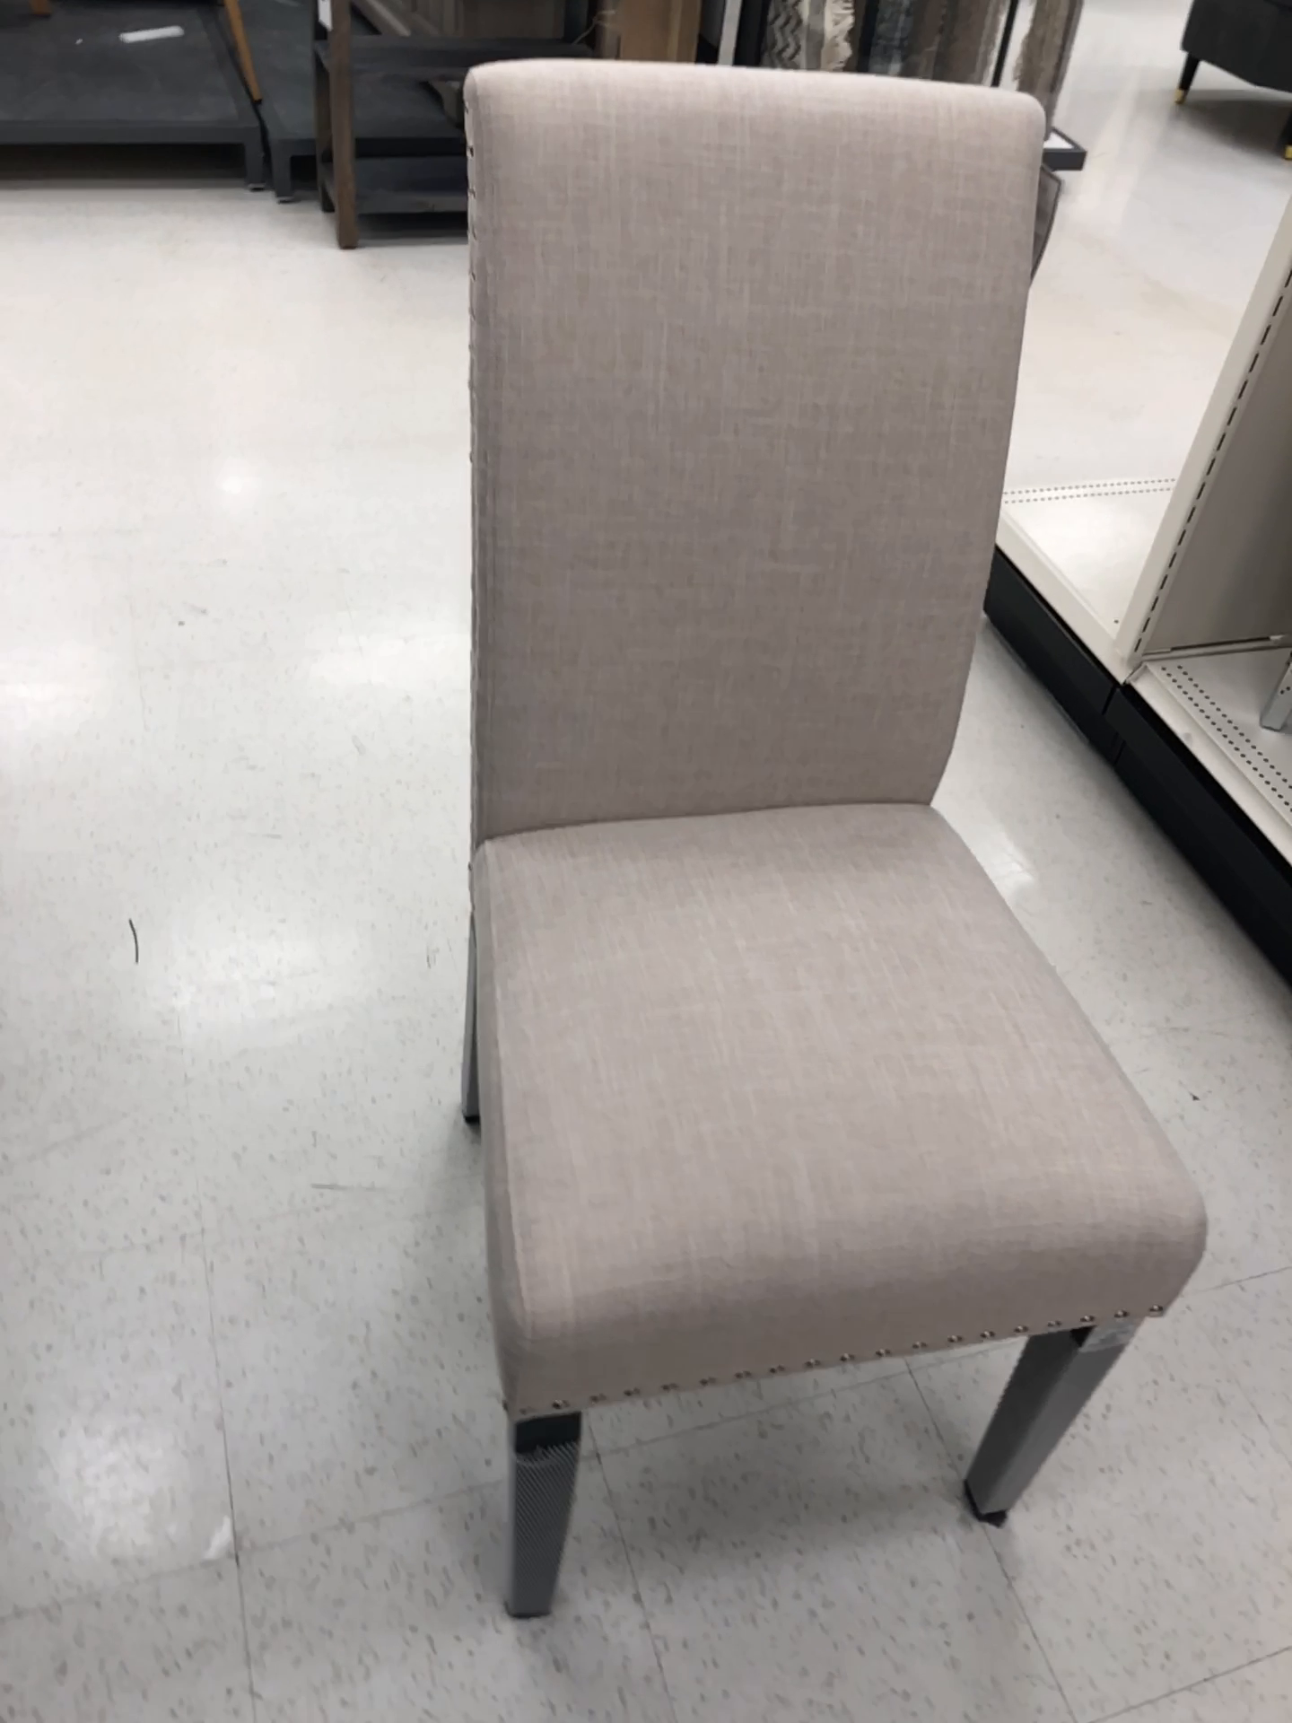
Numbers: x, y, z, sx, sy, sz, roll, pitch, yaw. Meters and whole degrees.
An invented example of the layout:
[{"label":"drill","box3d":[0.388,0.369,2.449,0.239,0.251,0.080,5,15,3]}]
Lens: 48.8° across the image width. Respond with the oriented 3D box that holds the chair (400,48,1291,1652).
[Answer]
[{"label":"chair","box3d":[0.100,0.057,1.044,0.487,1.006,0.558,-4,44,-13]}]
